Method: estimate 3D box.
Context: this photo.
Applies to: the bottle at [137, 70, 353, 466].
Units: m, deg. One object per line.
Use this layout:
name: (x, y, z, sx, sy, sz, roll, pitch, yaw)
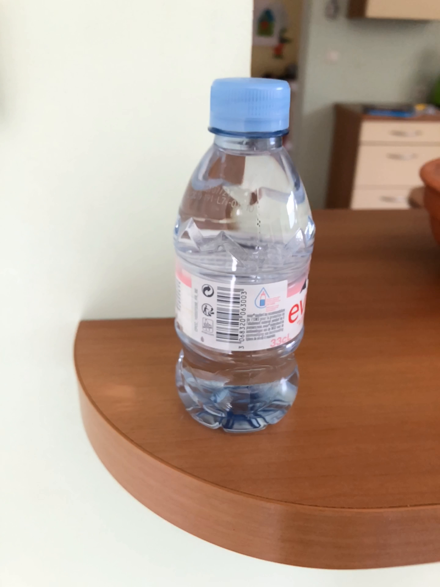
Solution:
bottle: (0.013, -0.013, 0.228, 0.070, 0.159, 0.070, 1, 27, -1)
